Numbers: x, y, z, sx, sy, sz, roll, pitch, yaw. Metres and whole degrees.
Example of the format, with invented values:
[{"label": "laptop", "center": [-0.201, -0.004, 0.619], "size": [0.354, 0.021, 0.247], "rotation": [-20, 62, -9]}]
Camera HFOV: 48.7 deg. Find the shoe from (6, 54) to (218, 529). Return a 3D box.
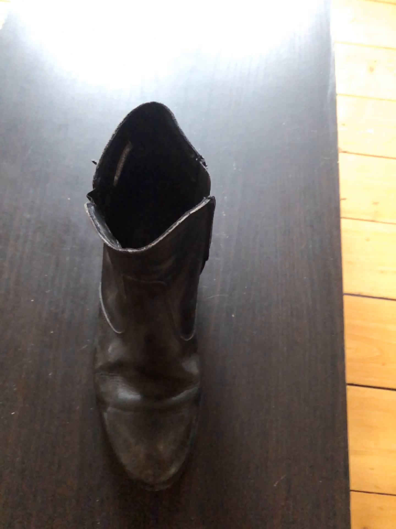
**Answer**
[{"label": "shoe", "center": [-0.039, 0.020, 0.316], "size": [0.090, 0.170, 0.271], "rotation": [1, 68, -2]}]
